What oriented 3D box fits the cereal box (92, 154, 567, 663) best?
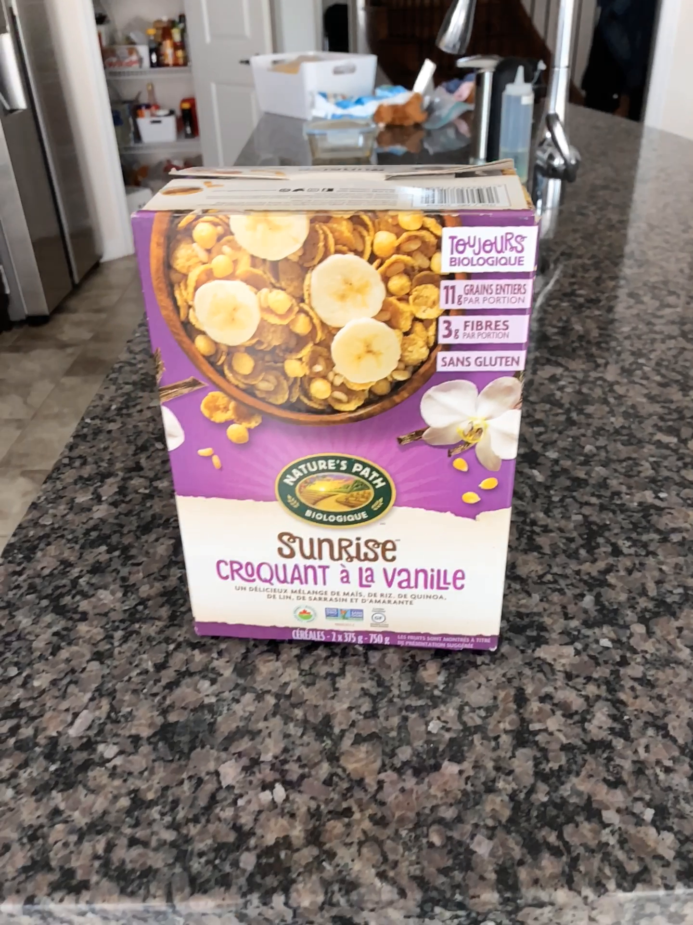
[{"bbox_3d":[0.000,-0.025,0.396,0.180,0.229,0.110,1,31,6],"label":"cereal box"}]
